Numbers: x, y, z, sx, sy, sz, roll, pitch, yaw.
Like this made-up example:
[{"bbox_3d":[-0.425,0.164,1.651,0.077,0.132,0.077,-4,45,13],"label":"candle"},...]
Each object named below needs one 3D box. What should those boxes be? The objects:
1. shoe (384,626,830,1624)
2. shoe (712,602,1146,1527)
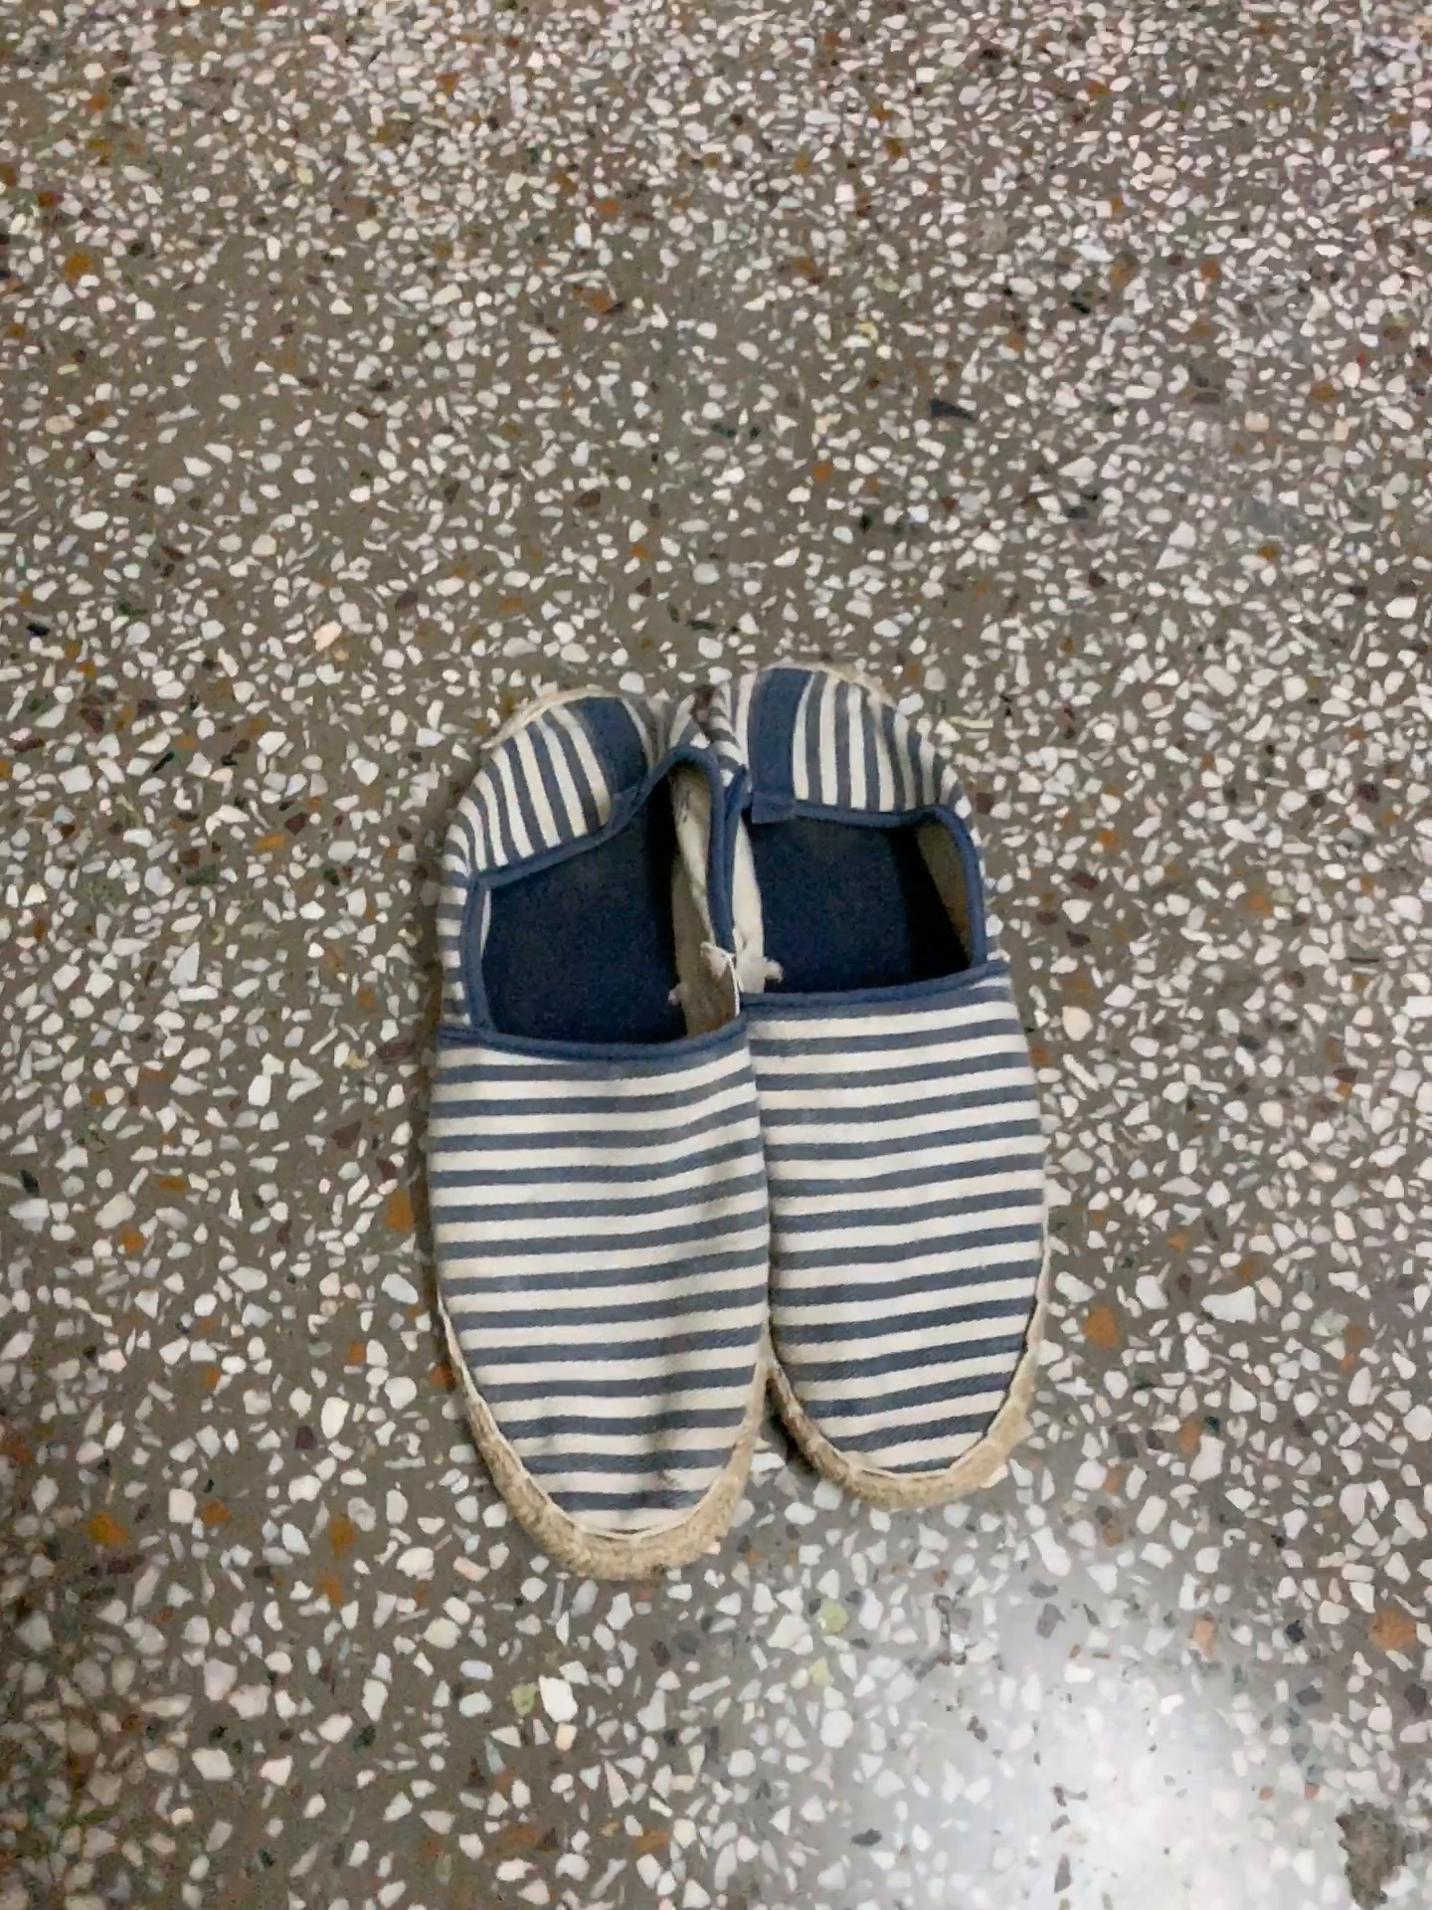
[{"bbox_3d":[-0.040,0.040,0.453,0.100,0.050,0.290,-6,69,-6],"label":"shoe"},{"bbox_3d":[0.057,0.025,0.470,0.100,0.050,0.290,-2,69,-4],"label":"shoe"}]
